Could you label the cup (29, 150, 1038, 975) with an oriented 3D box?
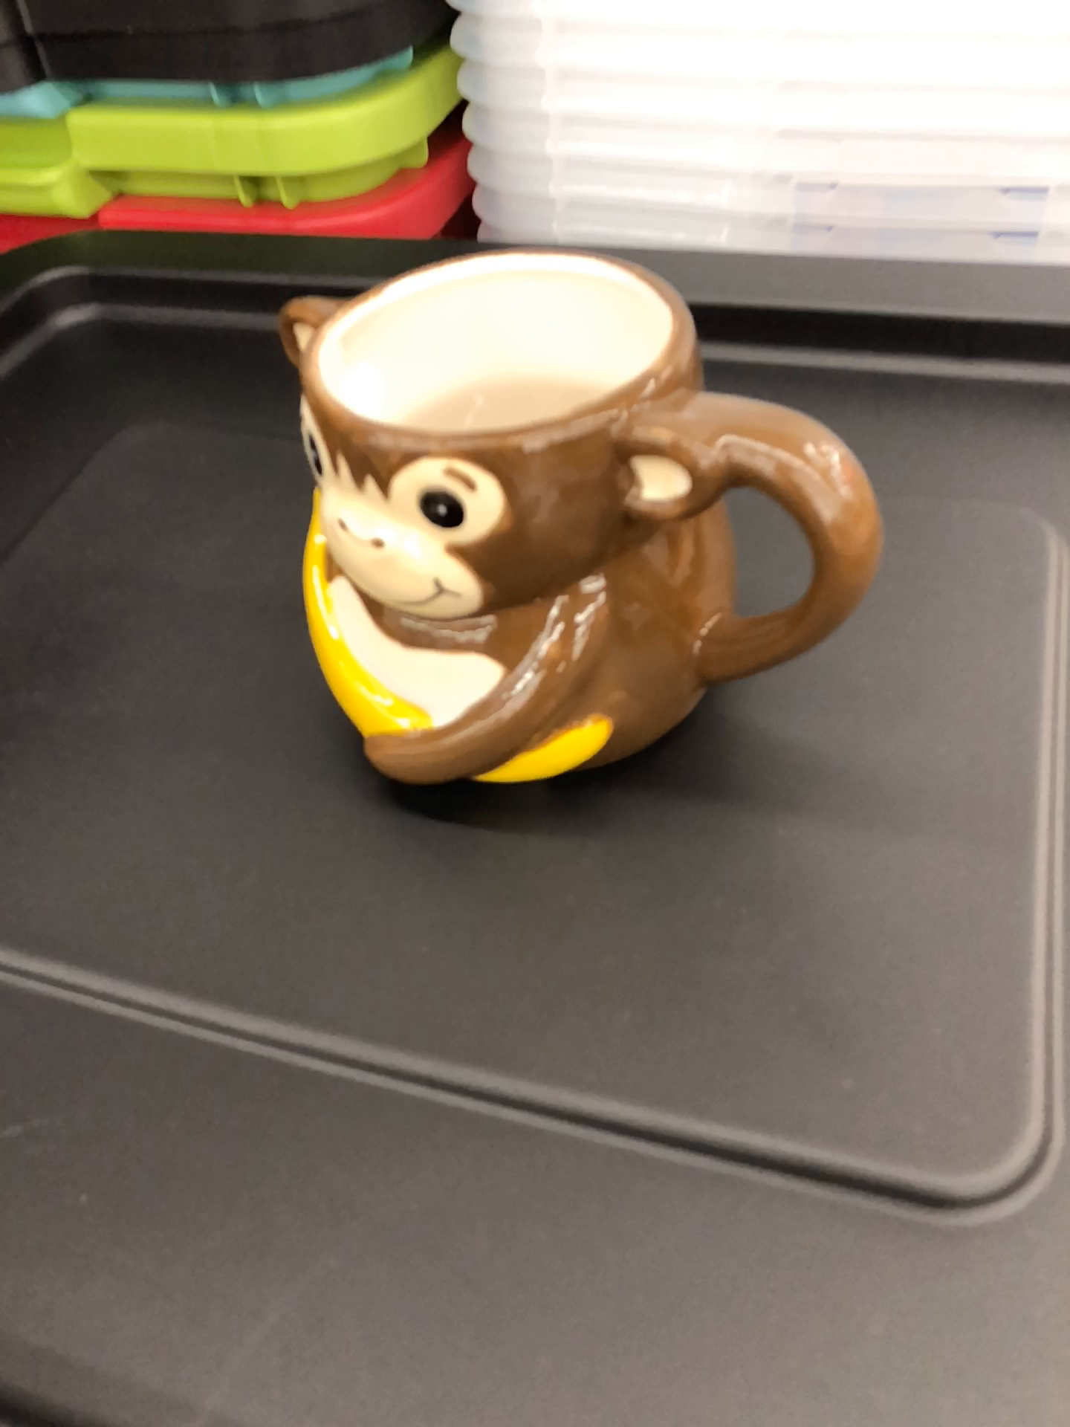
[{"bbox_3d":[0.004,-0.043,0.262,0.160,0.100,0.110,19,50,23],"label":"cup"}]
